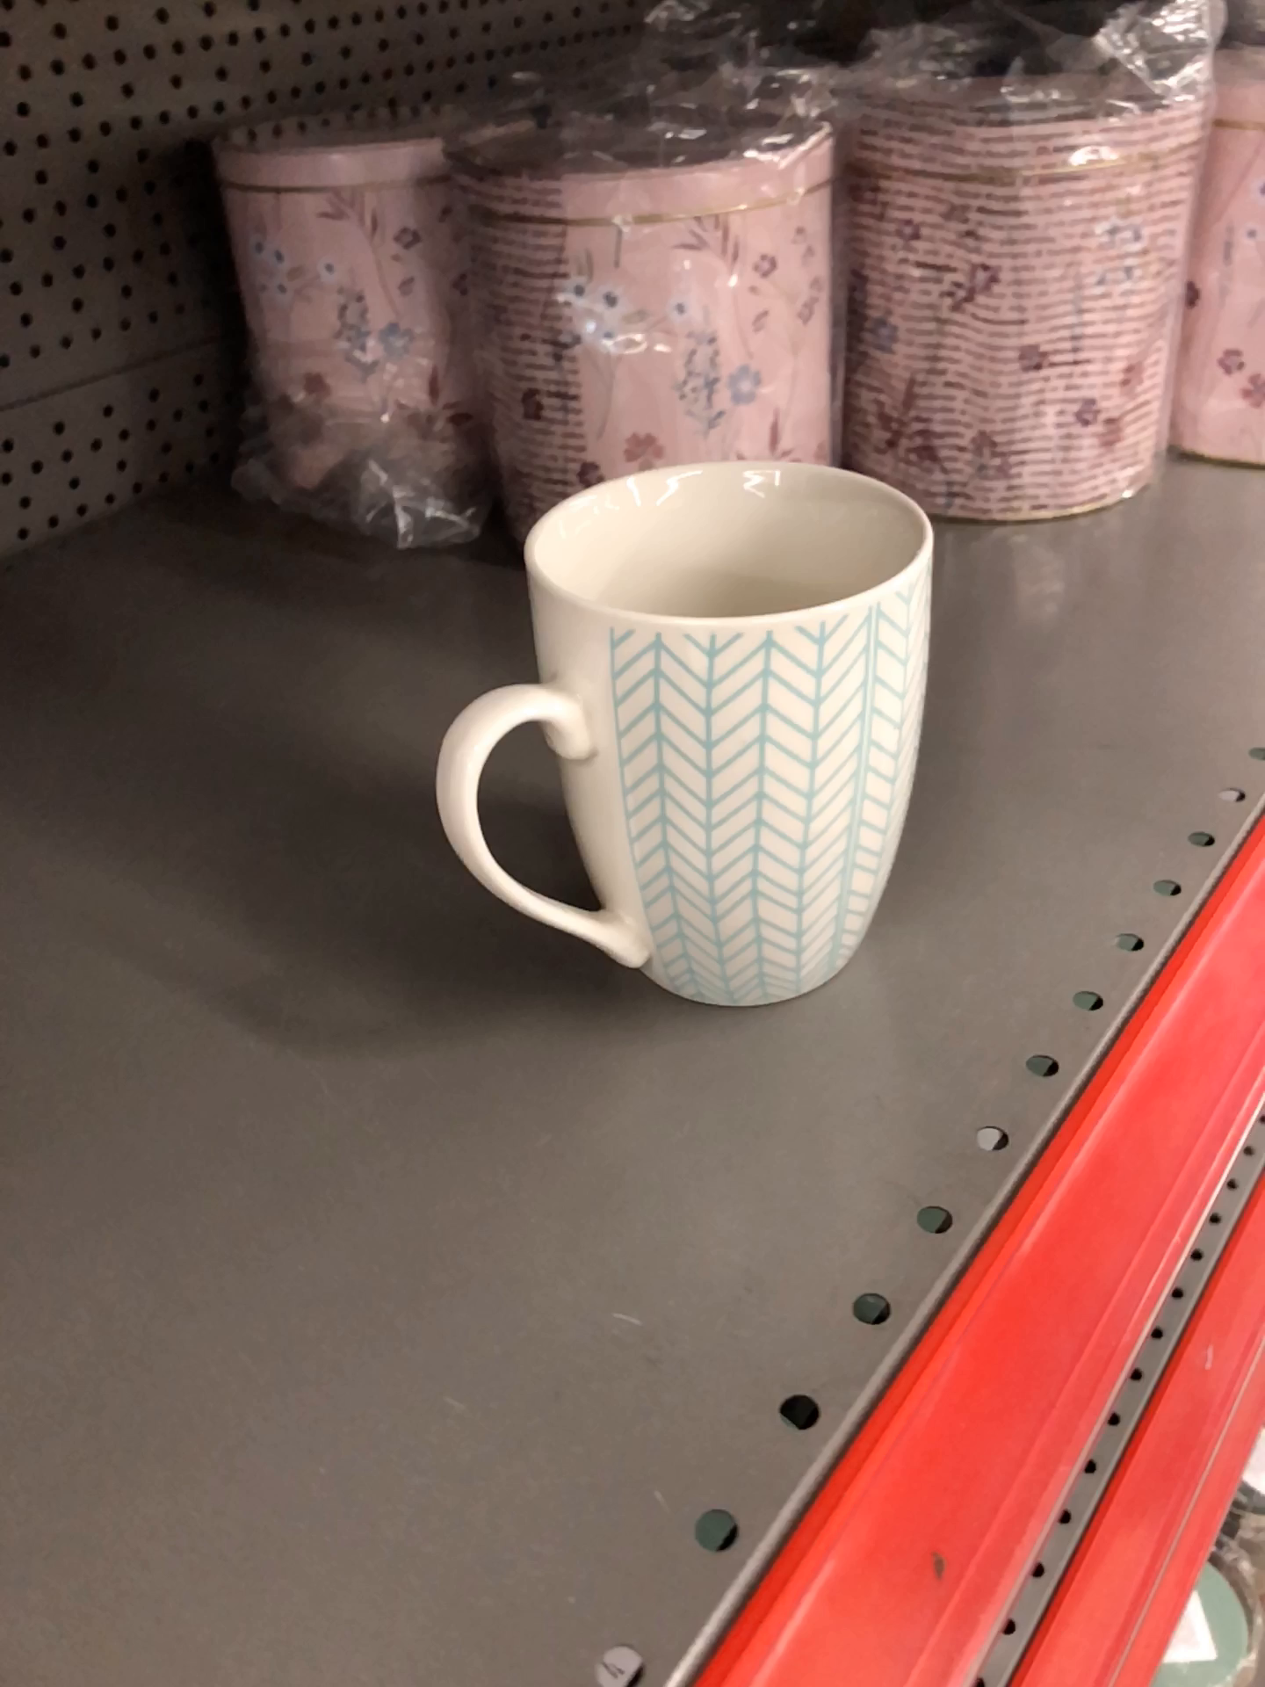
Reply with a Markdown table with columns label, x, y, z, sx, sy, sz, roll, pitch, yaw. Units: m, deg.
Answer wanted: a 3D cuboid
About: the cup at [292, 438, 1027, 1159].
| label | x | y | z | sx | sy | sz | roll | pitch | yaw |
| --- | --- | --- | --- | --- | --- | --- | --- | --- | --- |
| cup | 0.006 | -0.018 | 0.315 | 0.119 | 0.096 | 0.093 | -24 | 40 | -26 |
